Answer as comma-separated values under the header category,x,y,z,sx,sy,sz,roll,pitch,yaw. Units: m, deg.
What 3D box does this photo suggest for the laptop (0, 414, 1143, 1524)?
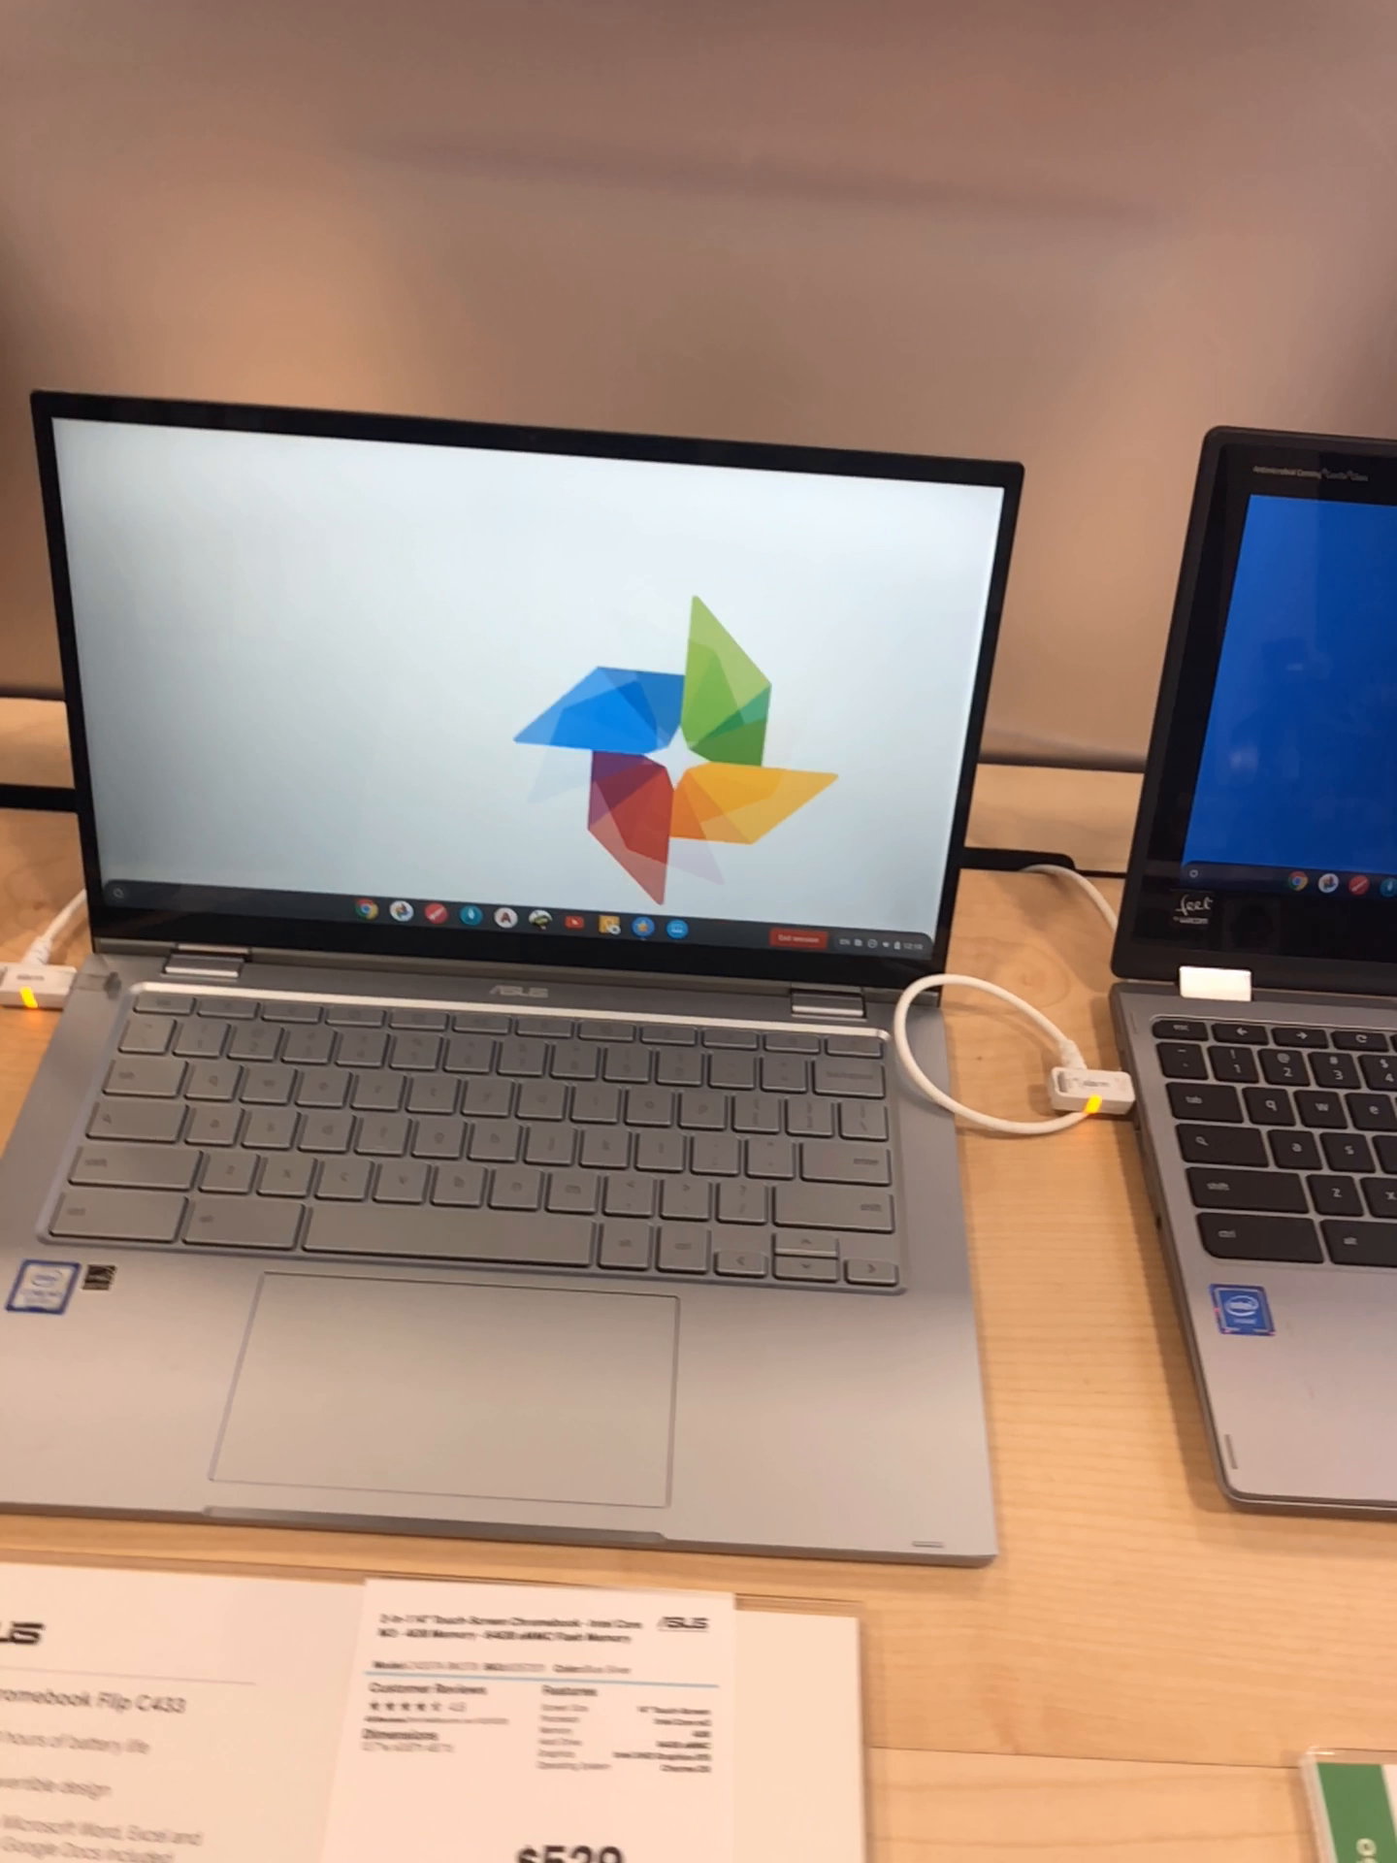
category,x,y,z,sx,sy,sz,roll,pitch,yaw
laptop,-0.066,0.000,0.462,0.309,0.174,0.283,3,45,-2
